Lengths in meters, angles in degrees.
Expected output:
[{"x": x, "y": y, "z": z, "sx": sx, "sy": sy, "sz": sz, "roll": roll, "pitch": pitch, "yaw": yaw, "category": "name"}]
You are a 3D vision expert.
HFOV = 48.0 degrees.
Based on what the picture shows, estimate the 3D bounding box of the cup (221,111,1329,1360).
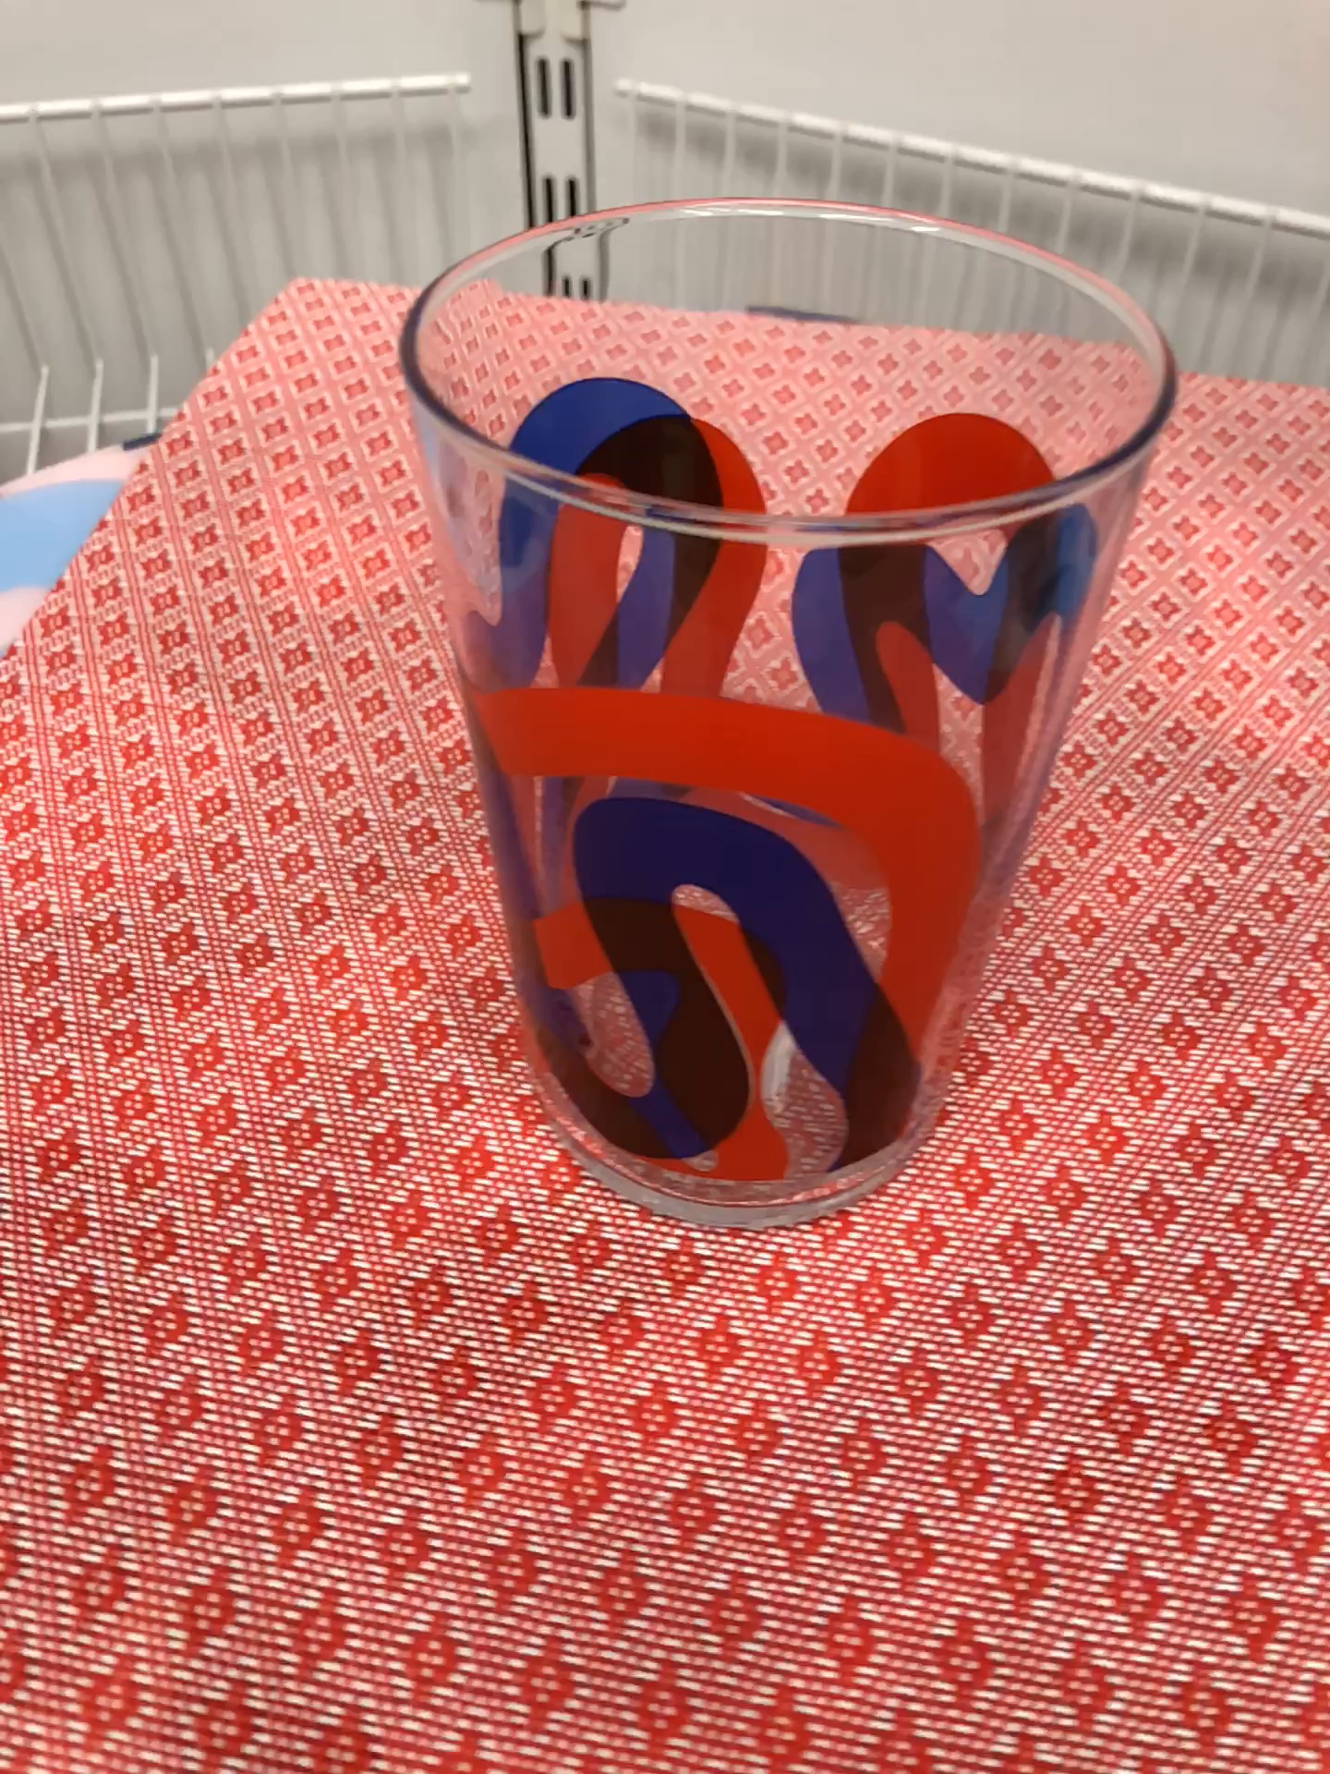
[{"x": 0.016, "y": -0.023, "z": 0.205, "sx": 0.090, "sy": 0.120, "sz": 0.090, "roll": 0, "pitch": 43, "yaw": 0, "category": "cup"}]
